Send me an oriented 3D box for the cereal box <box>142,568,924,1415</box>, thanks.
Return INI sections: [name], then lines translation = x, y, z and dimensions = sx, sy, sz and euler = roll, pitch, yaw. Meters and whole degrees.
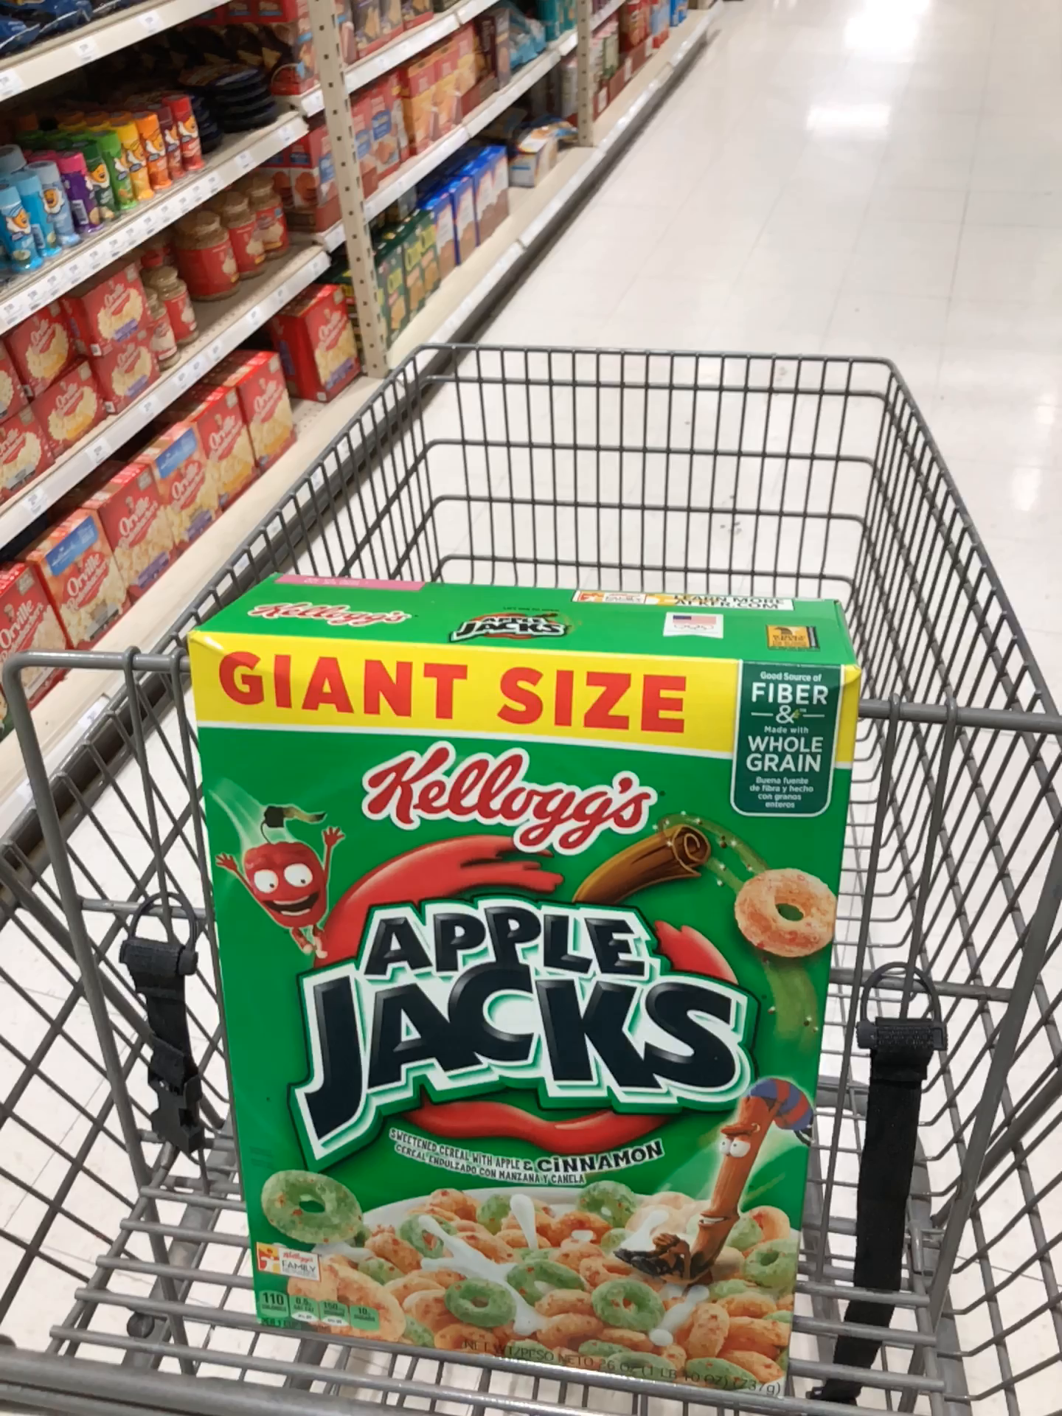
[cereal box]
translation = 0.002, 0.116, 0.467
dimensions = 0.250, 0.320, 0.090
euler = 3, 21, 9
